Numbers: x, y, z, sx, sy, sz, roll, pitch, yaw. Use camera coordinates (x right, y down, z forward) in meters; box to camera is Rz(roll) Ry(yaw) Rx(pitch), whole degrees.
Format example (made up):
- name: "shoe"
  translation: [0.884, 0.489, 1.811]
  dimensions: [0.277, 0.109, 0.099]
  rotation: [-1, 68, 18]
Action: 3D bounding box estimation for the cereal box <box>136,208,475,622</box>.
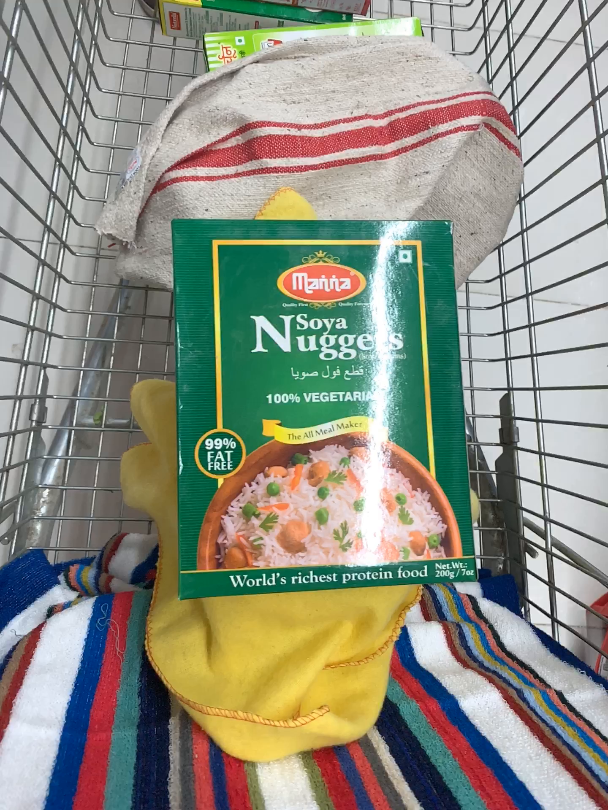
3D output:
- name: "cereal box"
  translation: [-0.003, 0.002, 0.338]
  dimensions: [0.160, 0.060, 0.200]
  rotation: [-2, 84, -6]
